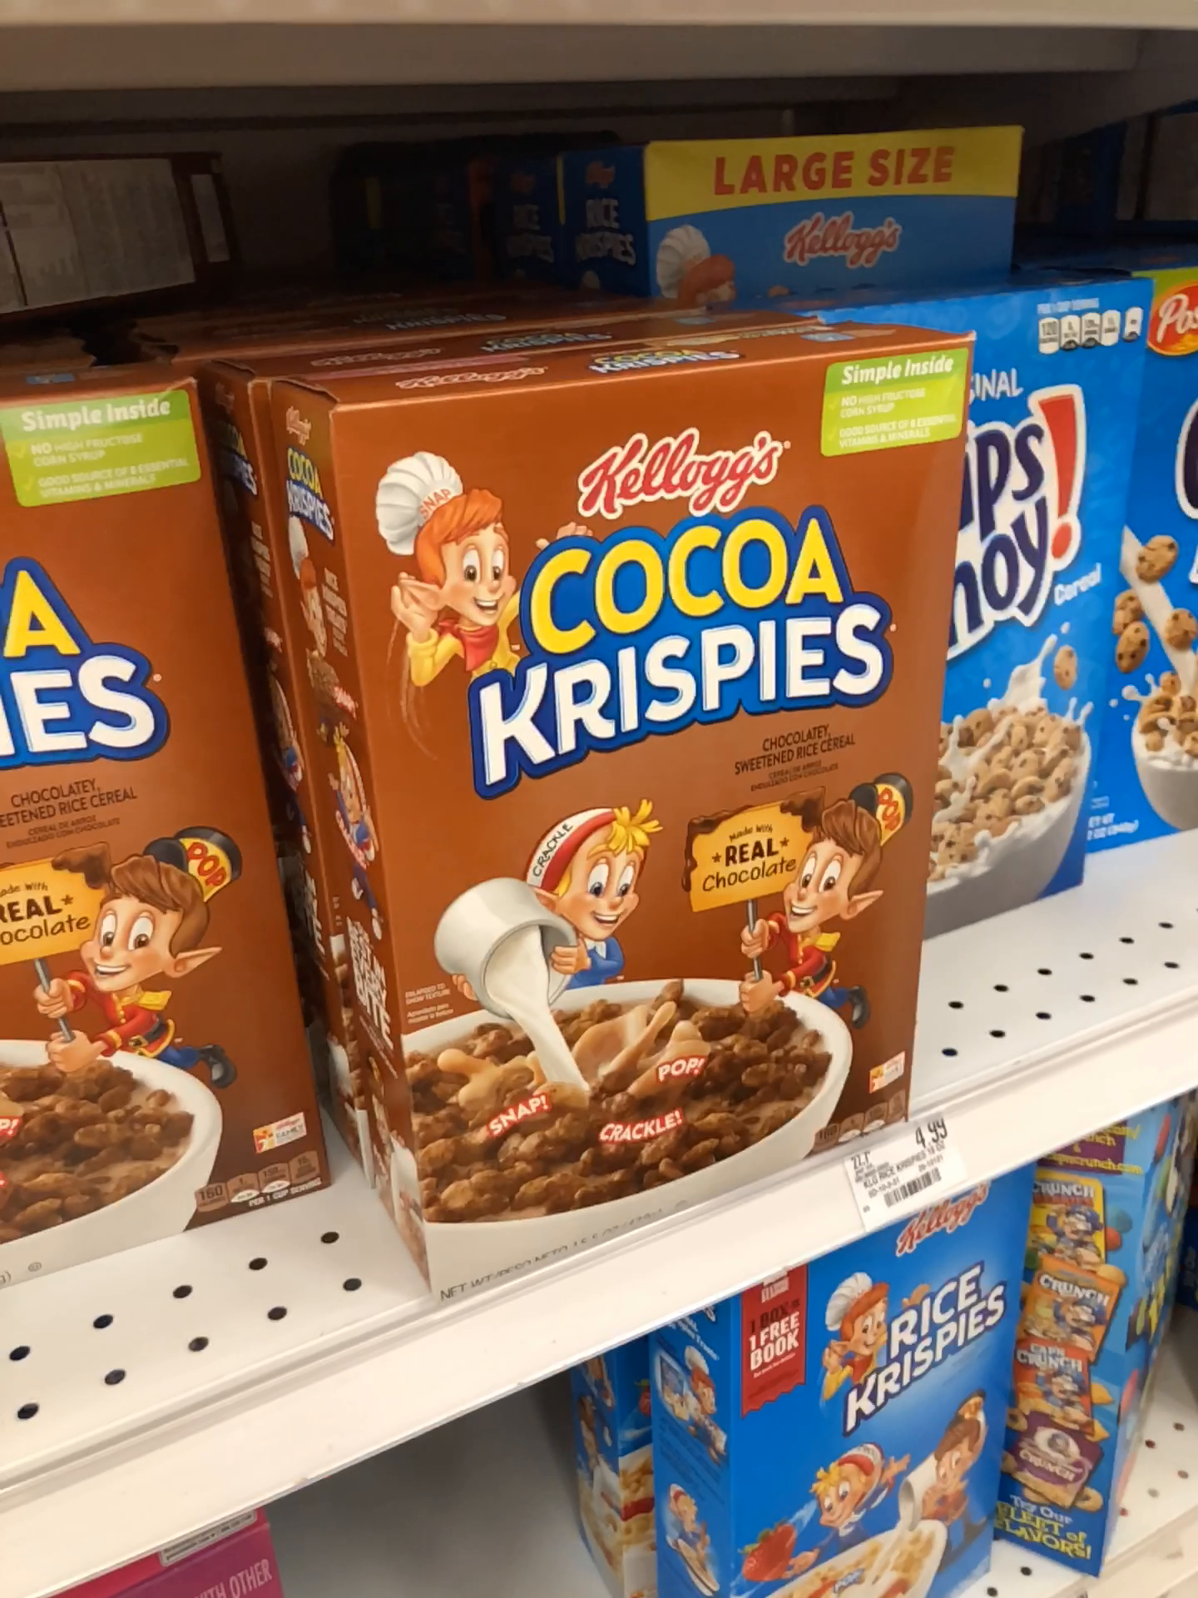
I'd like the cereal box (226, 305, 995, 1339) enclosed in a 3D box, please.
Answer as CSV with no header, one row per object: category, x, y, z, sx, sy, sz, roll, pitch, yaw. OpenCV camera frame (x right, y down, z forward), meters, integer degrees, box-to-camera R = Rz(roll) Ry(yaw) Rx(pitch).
cereal box,0.011,0.006,0.426,0.200,0.289,0.070,-14,29,-24
